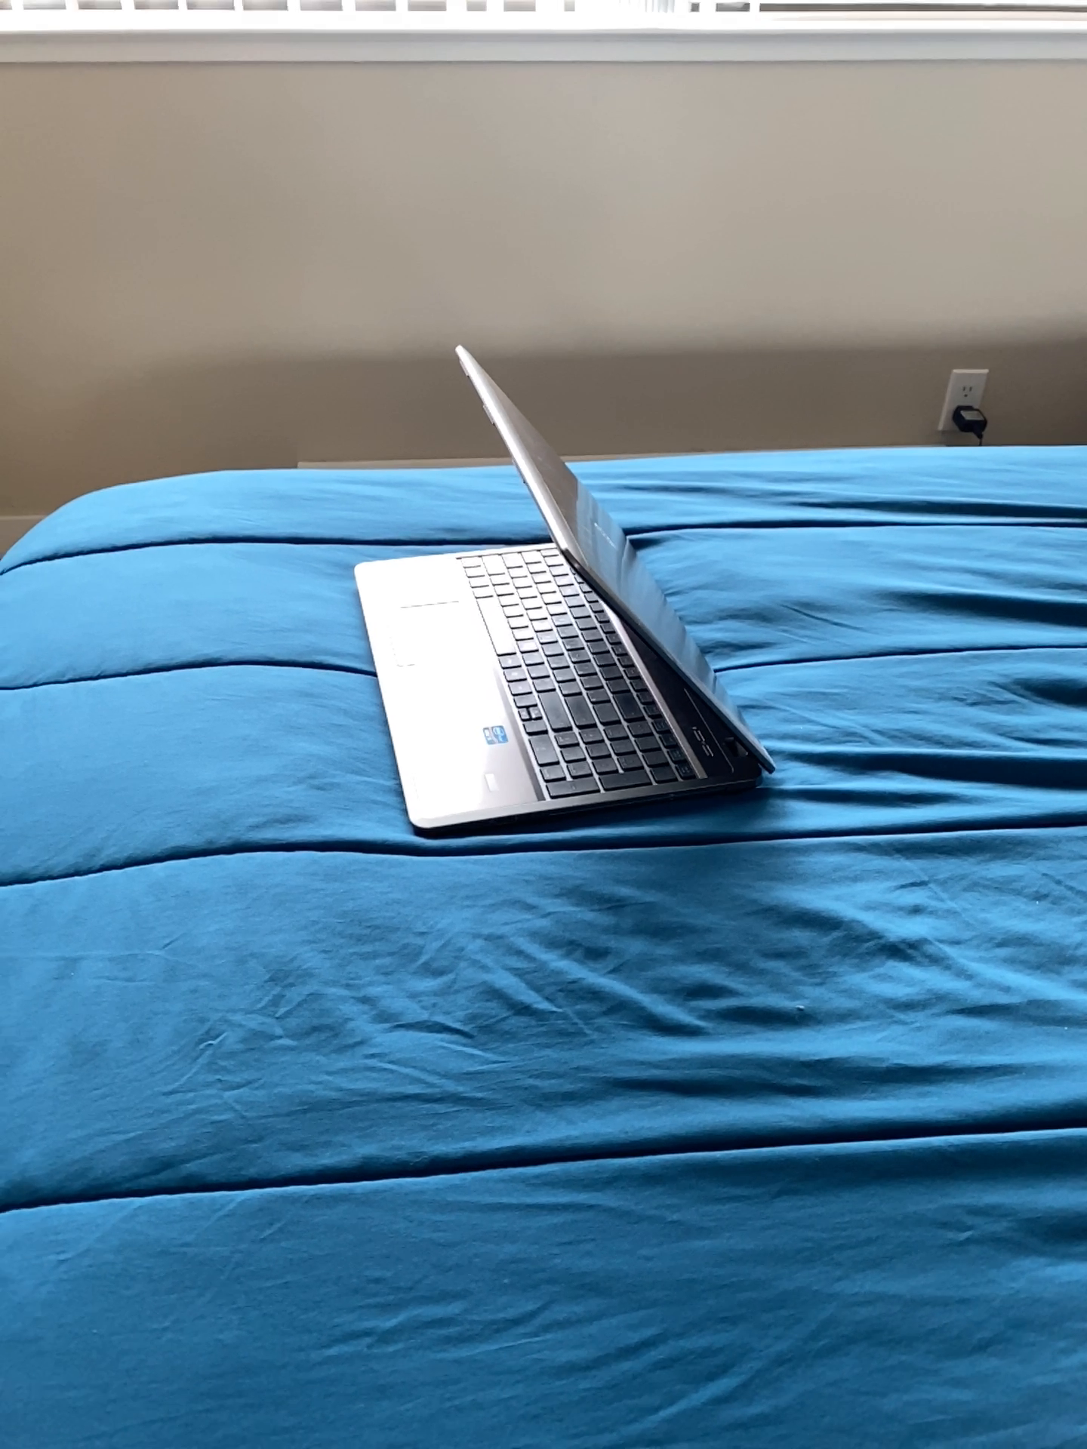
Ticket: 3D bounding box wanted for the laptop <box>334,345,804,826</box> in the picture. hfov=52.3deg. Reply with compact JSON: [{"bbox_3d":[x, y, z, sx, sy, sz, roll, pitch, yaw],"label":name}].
[{"bbox_3d":[-0.008,-0.133,0.848,0.255,0.192,0.371,-6,37,-12],"label":"laptop"}]
